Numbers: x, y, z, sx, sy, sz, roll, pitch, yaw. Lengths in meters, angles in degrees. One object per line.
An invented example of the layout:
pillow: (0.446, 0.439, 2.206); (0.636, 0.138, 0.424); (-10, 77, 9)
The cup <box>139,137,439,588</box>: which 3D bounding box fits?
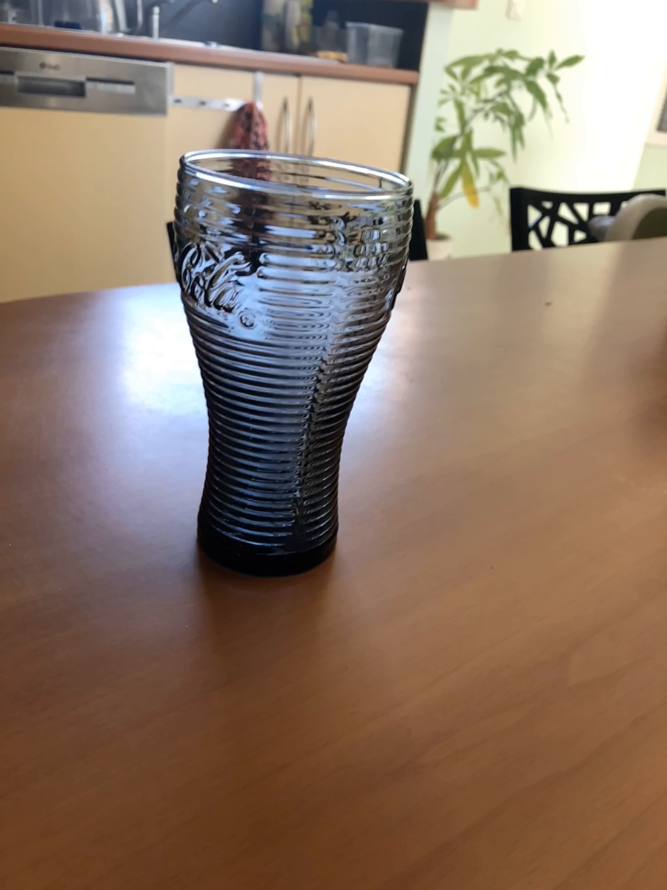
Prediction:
cup: (-0.017, -0.031, 0.261); (0.080, 0.129, 0.080); (6, 27, -3)
